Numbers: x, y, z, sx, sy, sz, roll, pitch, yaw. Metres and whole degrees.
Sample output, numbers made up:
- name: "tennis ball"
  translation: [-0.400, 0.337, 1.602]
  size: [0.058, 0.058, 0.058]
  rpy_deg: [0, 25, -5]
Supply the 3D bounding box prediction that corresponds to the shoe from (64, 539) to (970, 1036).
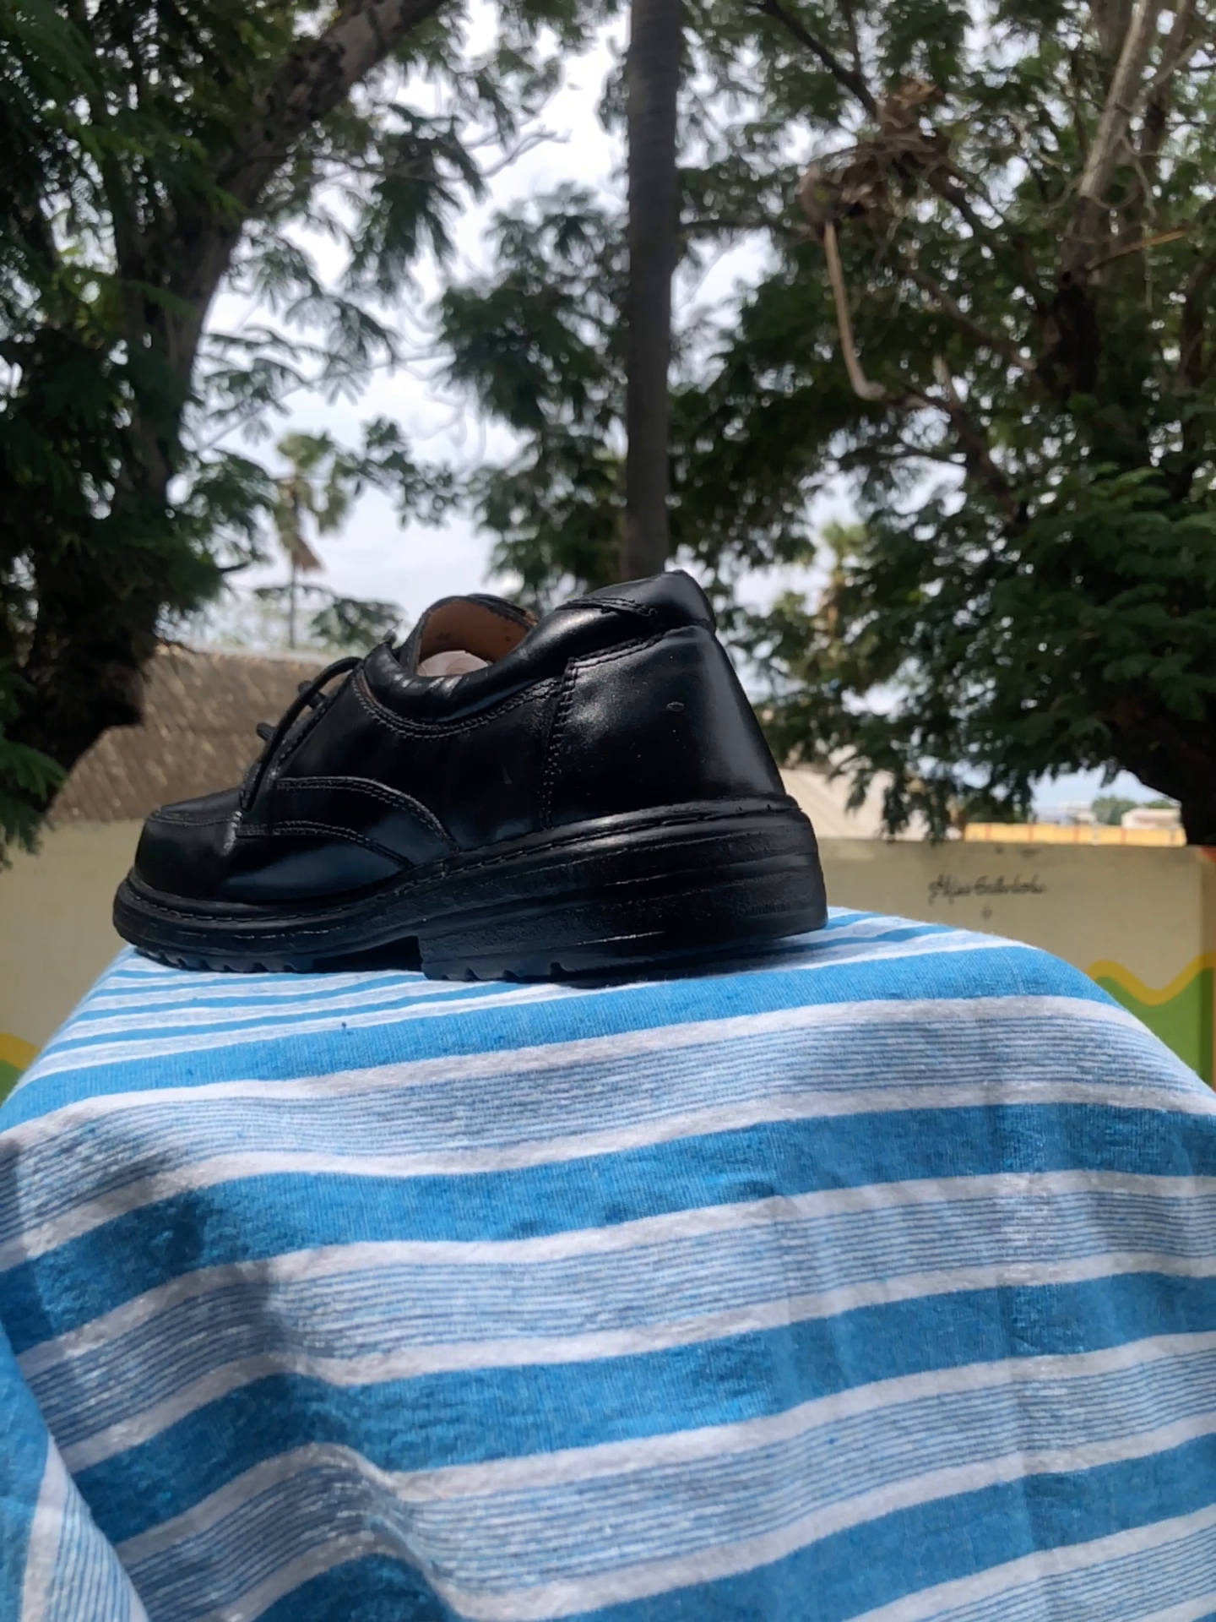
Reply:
- name: "shoe"
  translation: [-0.049, -0.008, 0.413]
  size: [0.110, 0.100, 0.289]
  rpy_deg: [-4, 3, -45]
